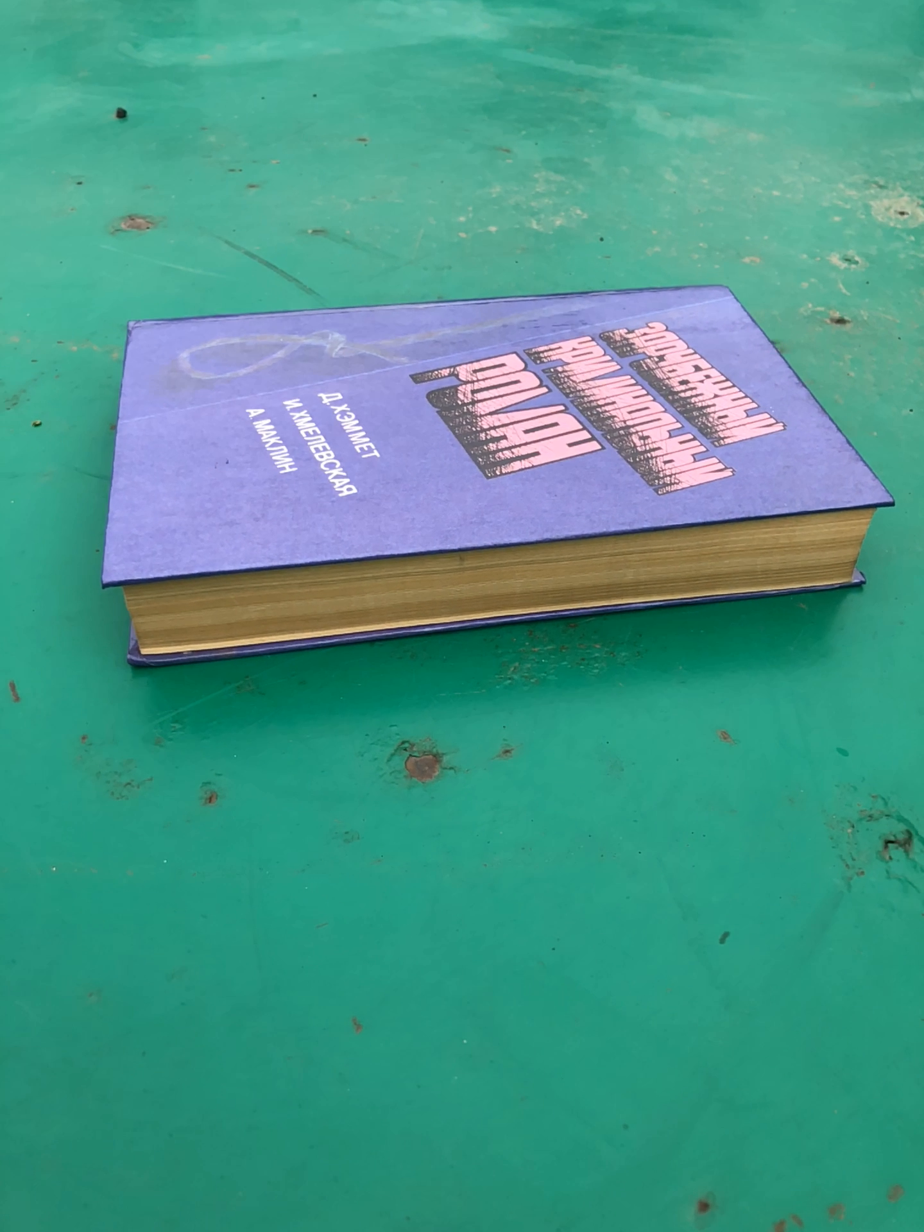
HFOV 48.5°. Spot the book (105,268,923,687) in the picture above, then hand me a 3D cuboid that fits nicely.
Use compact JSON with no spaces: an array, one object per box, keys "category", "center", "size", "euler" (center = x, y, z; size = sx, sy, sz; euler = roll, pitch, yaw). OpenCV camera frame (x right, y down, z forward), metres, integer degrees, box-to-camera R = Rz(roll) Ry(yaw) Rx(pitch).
[{"category":"book","center":[0.007,-0.052,0.312],"size":[0.208,0.030,0.137],"euler":[-7,45,-7]}]
